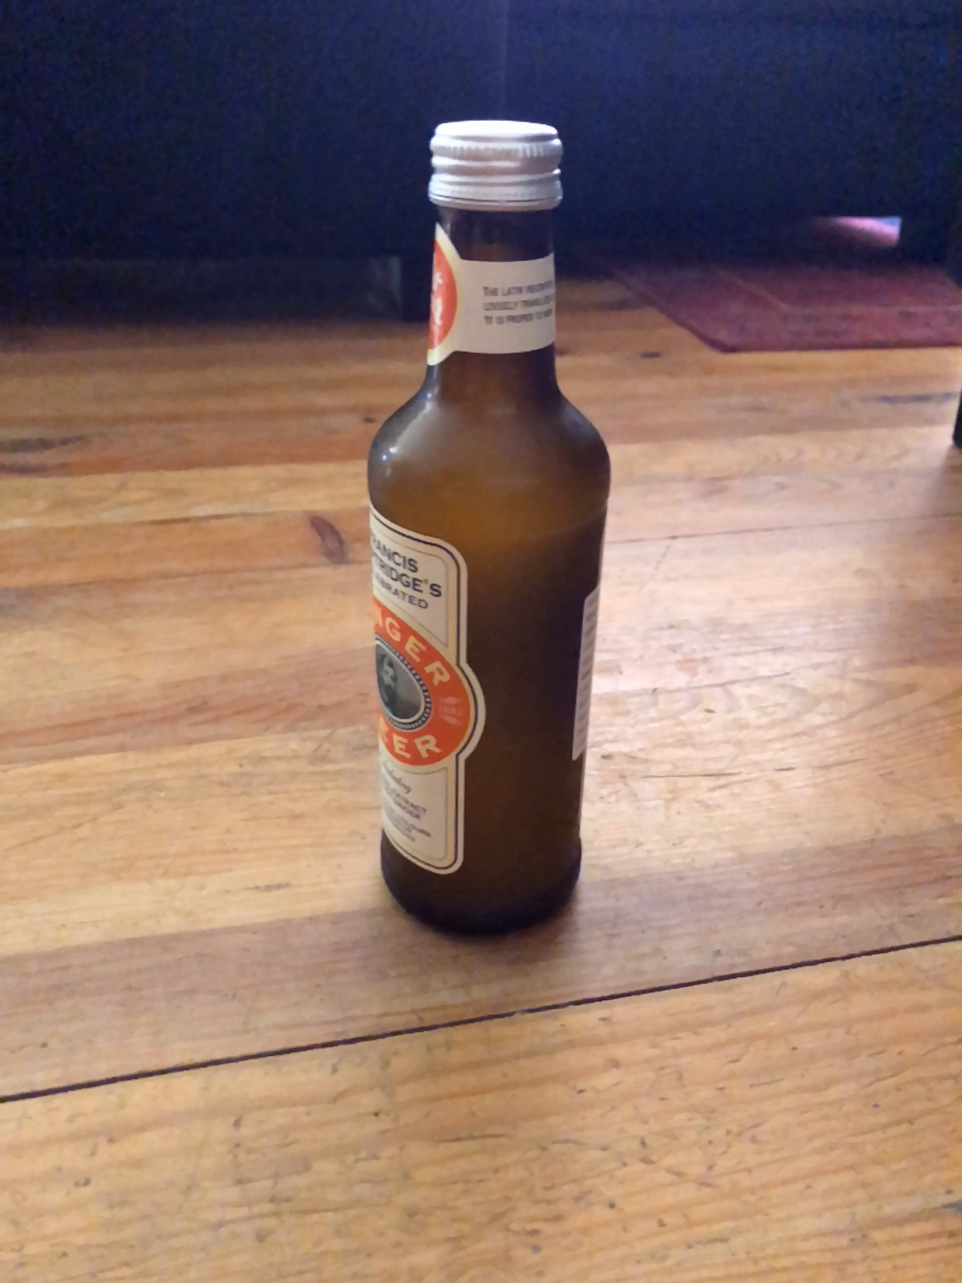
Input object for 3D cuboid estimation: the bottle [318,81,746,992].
[{"bbox_3d":[0.006,-0.022,0.268,0.060,0.209,0.070,-14,32,-25],"label":"bottle"}]
